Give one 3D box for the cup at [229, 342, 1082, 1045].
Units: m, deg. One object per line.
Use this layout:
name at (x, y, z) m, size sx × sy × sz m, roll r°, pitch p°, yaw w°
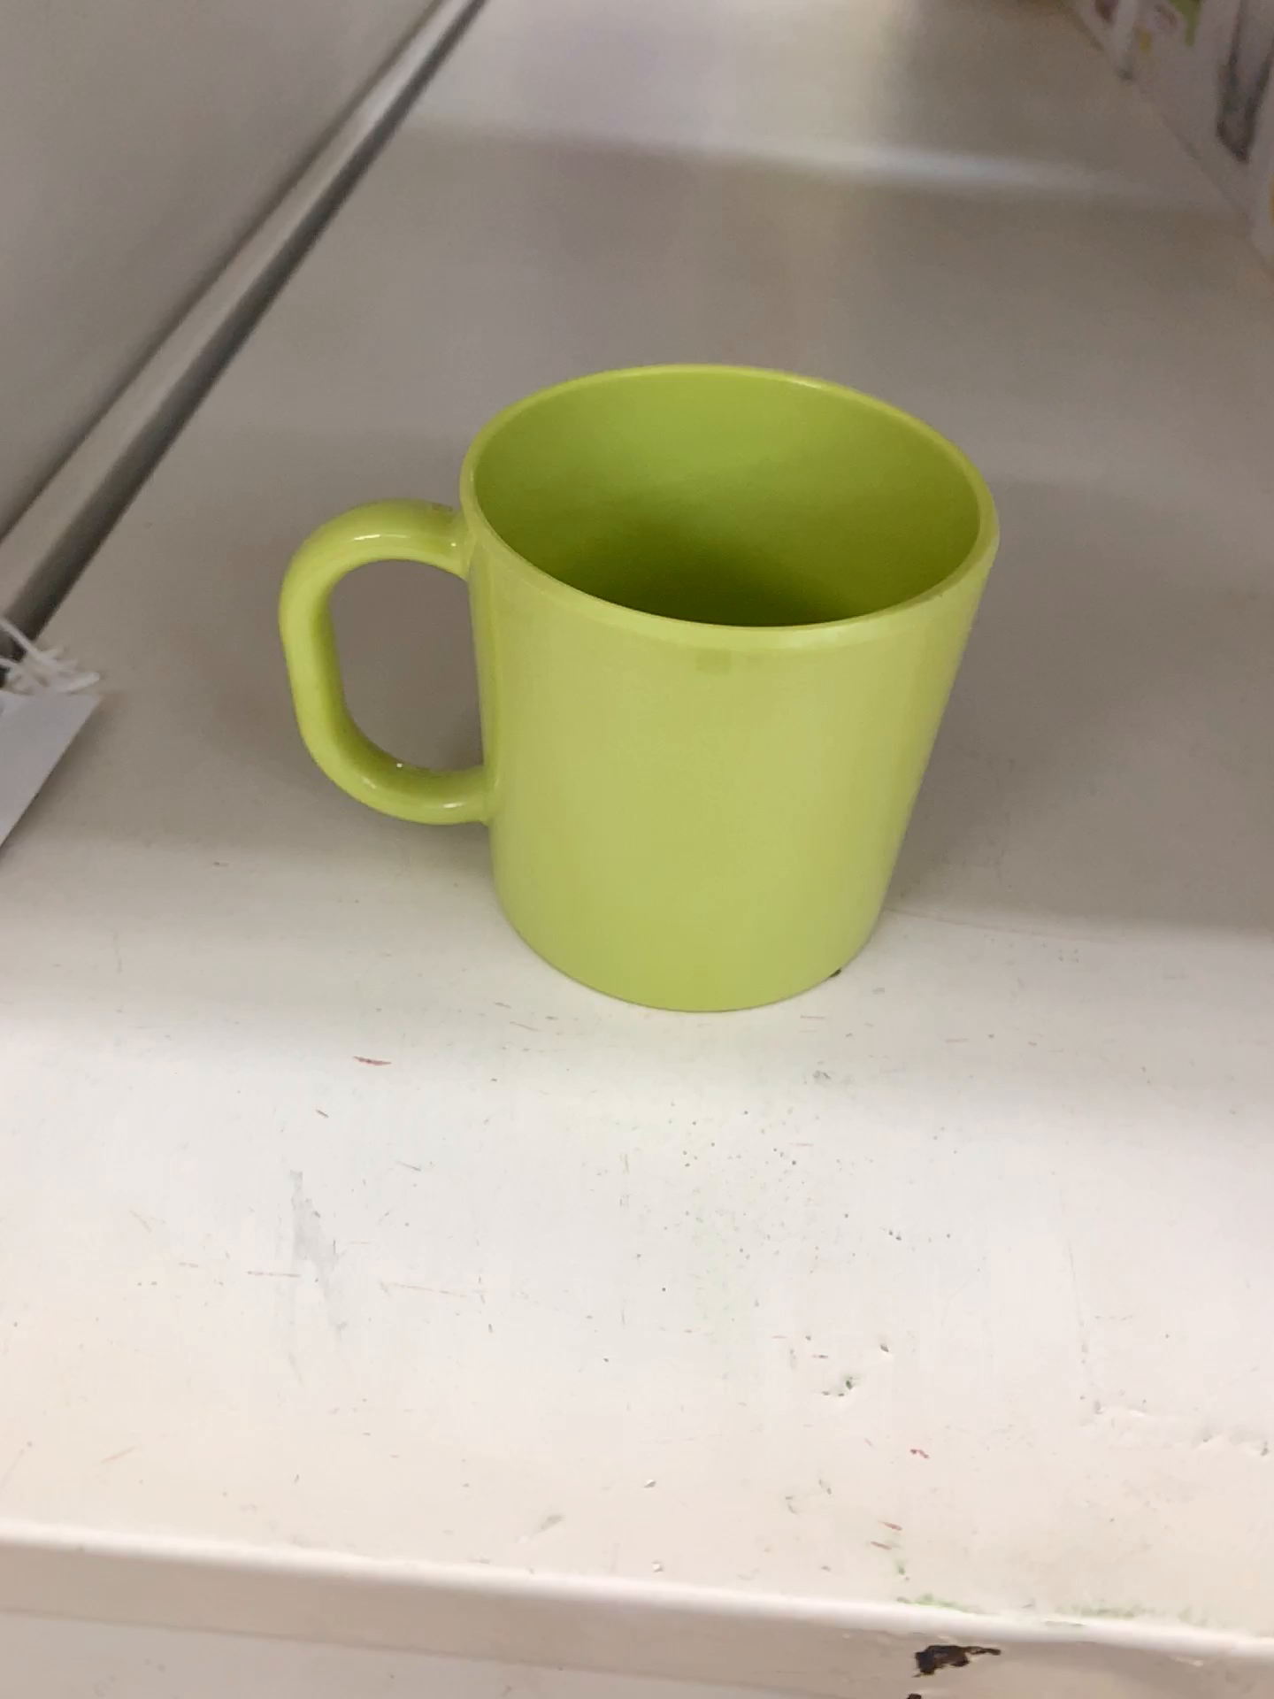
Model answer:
cup at (-0.001, -0.024, 0.190) m, size 0.089 × 0.063 × 0.078 m, roll -1°, pitch 43°, yaw -4°
